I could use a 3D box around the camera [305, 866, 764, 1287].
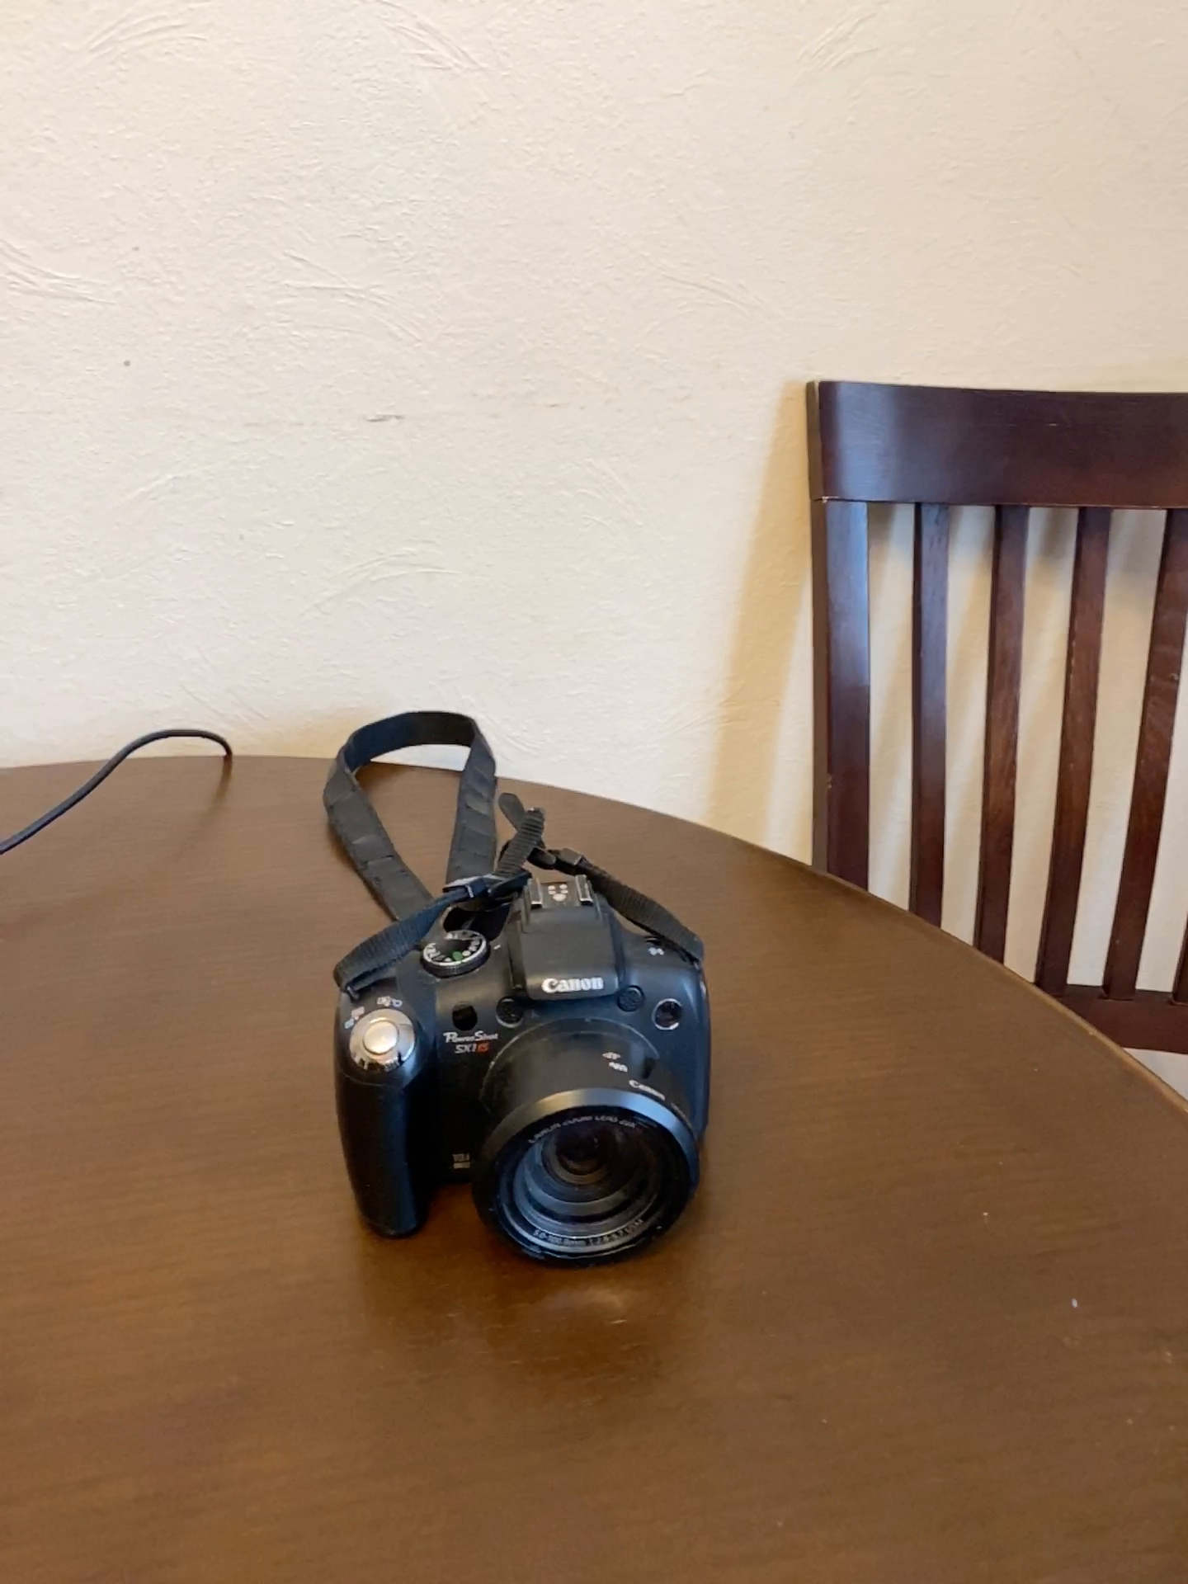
[{"bbox_3d":[-0.020,0.085,0.379,0.123,0.088,0.082,-2,25,-6],"label":"camera"}]
